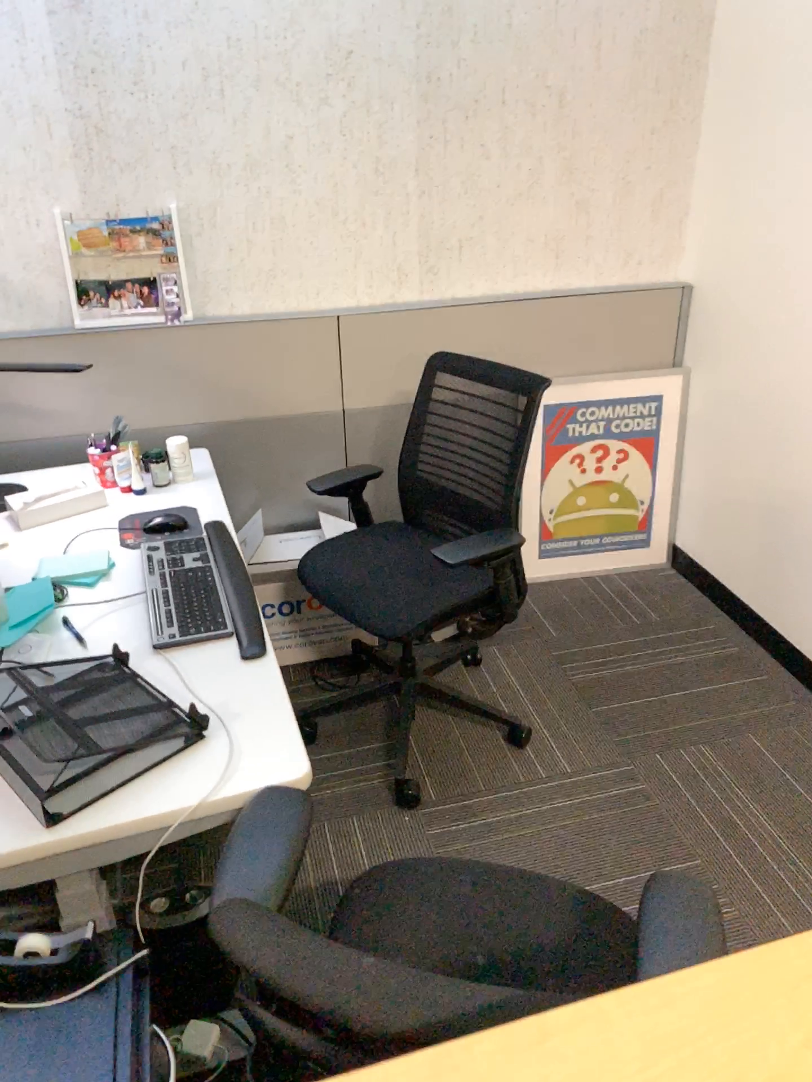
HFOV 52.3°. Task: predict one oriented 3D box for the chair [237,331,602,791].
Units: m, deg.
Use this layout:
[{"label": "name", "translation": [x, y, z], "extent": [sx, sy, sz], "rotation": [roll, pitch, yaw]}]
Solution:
[{"label": "chair", "translation": [0.037, 0.001, 2.327], "extent": [0.651, 0.954, 0.673], "rotation": [-23, 35, -36]}]
